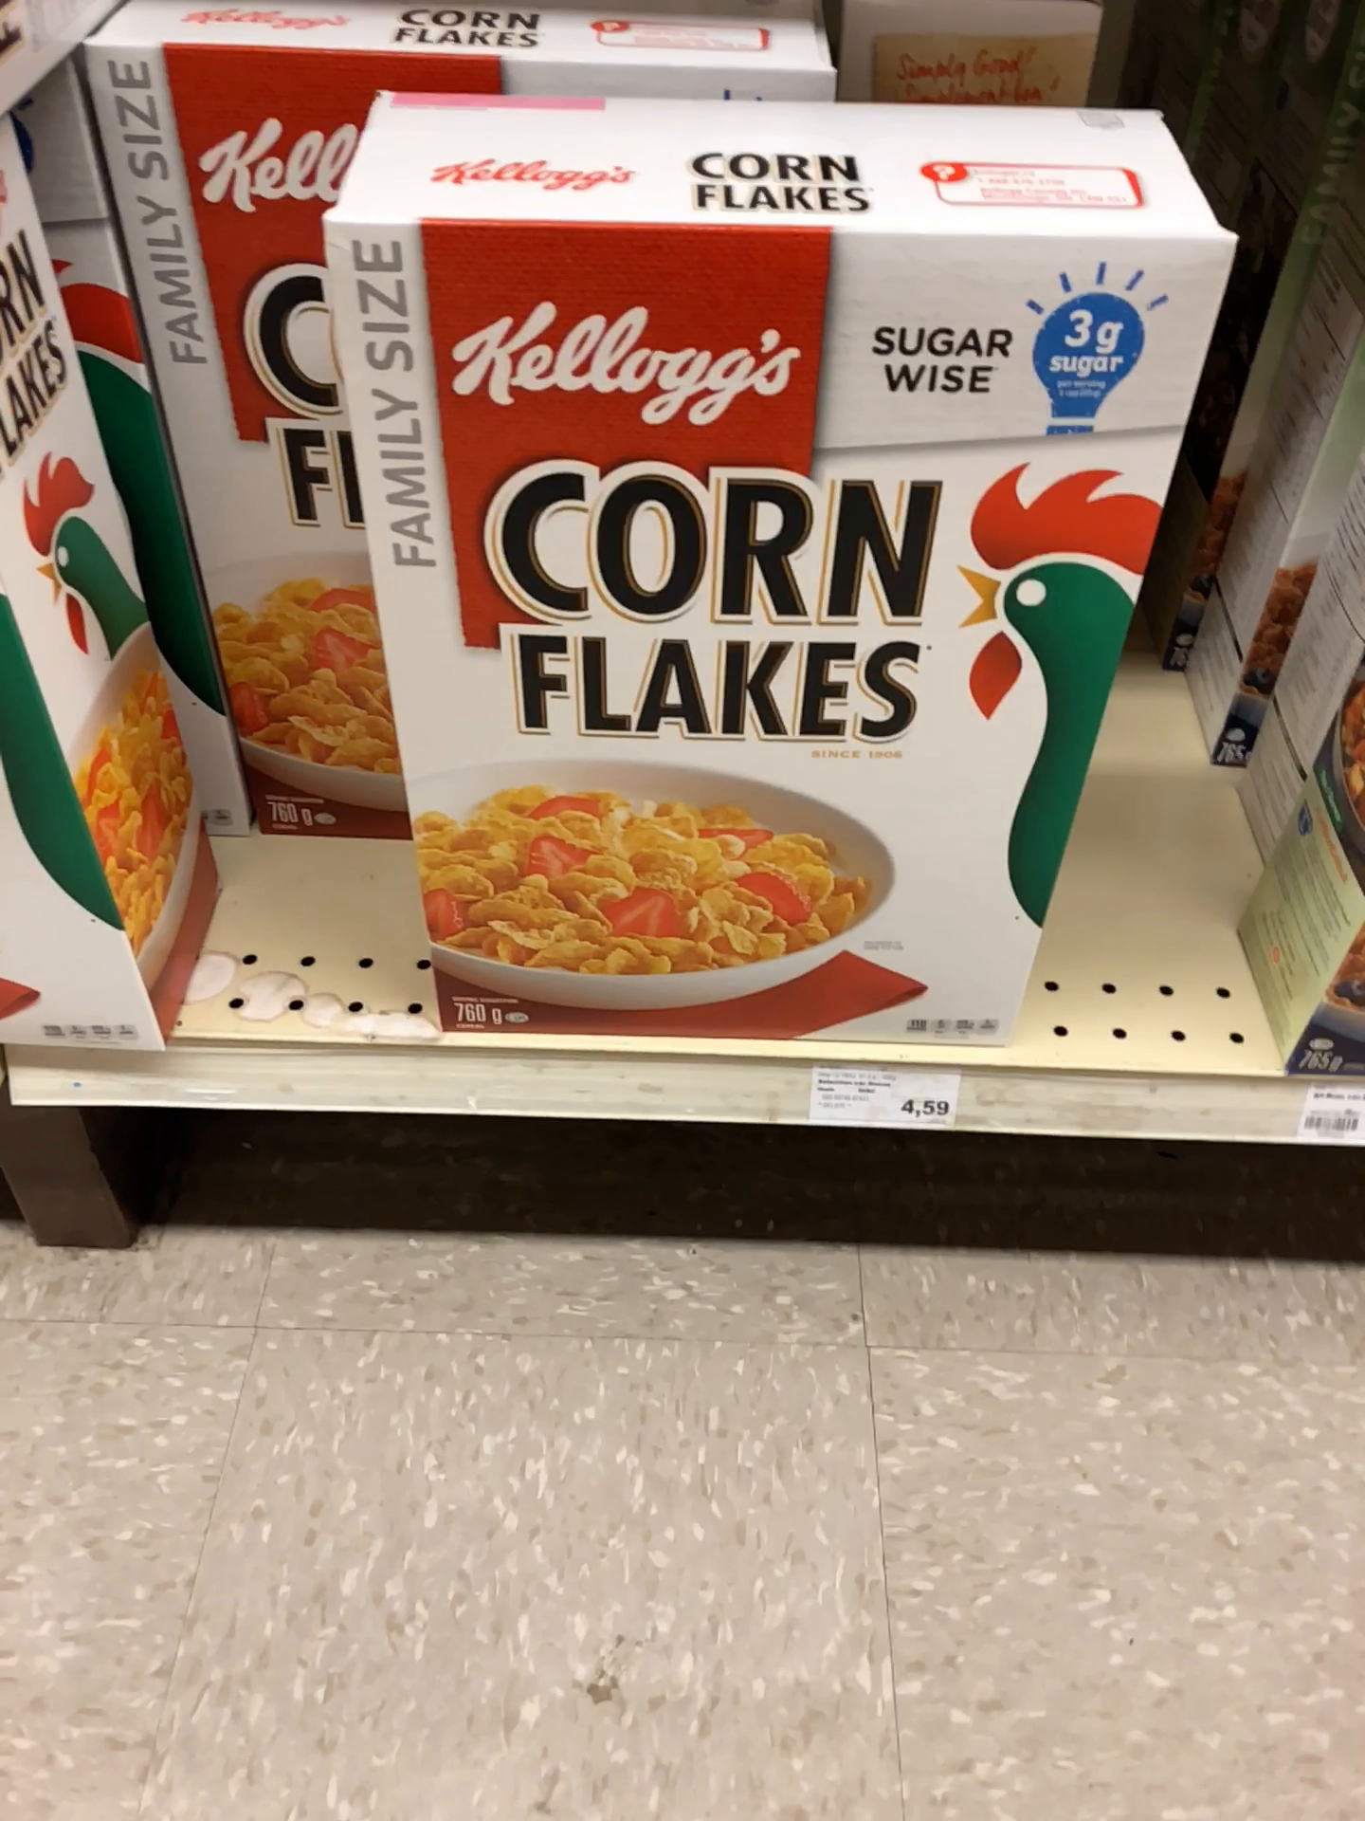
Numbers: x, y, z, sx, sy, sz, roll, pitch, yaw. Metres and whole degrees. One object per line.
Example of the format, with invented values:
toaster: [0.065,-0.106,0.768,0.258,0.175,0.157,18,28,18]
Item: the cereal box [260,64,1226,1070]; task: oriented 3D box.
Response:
cereal box: [0.012,-0.100,0.590,0.270,0.387,0.101,0,45,-2]
